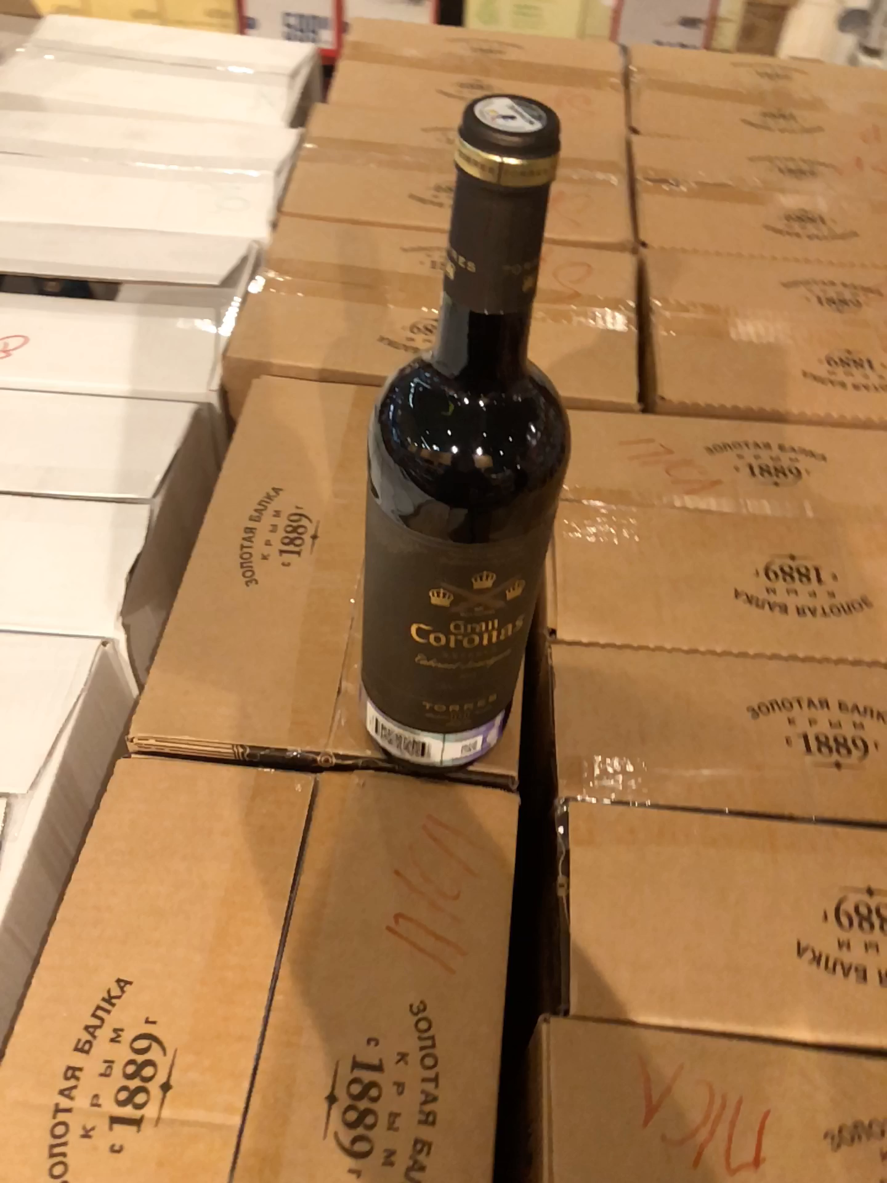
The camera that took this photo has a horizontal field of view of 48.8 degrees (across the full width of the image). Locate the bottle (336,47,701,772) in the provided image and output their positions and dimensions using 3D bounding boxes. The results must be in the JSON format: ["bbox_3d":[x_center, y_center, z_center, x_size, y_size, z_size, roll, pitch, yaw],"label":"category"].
[{"bbox_3d":[0.008,-0.042,0.377,0.090,0.278,0.090,2,50,-3],"label":"bottle"}]
